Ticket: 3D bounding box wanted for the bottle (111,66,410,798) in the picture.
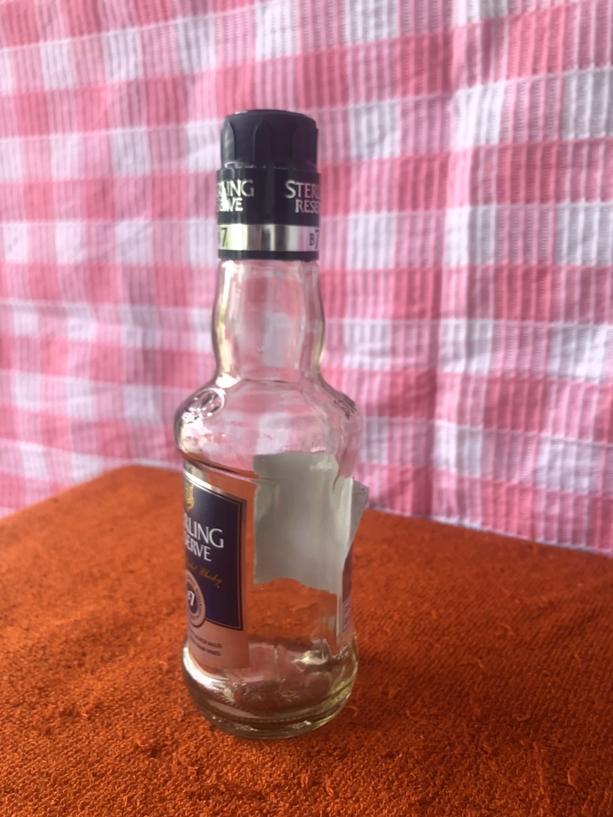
[{"bbox_3d":[-0.014,0.006,0.191,0.050,0.169,0.060,-9,18,-30],"label":"bottle"}]
